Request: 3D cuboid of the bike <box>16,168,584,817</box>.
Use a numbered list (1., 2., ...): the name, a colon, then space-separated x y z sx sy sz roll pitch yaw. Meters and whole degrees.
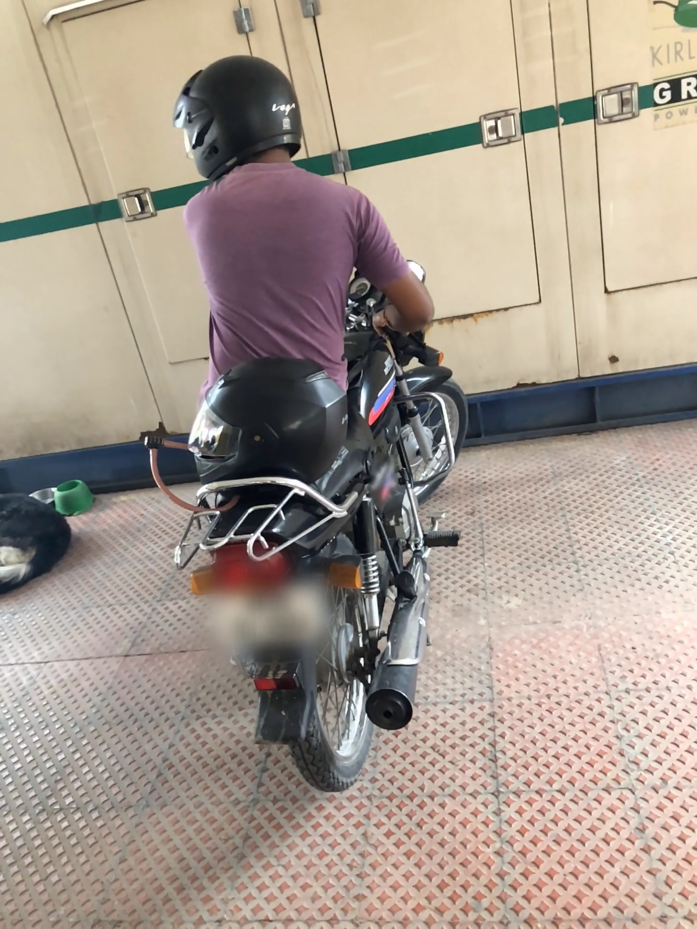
1. bike: 0.146 -0.079 2.062 0.815 0.927 1.601 -3 29 19
